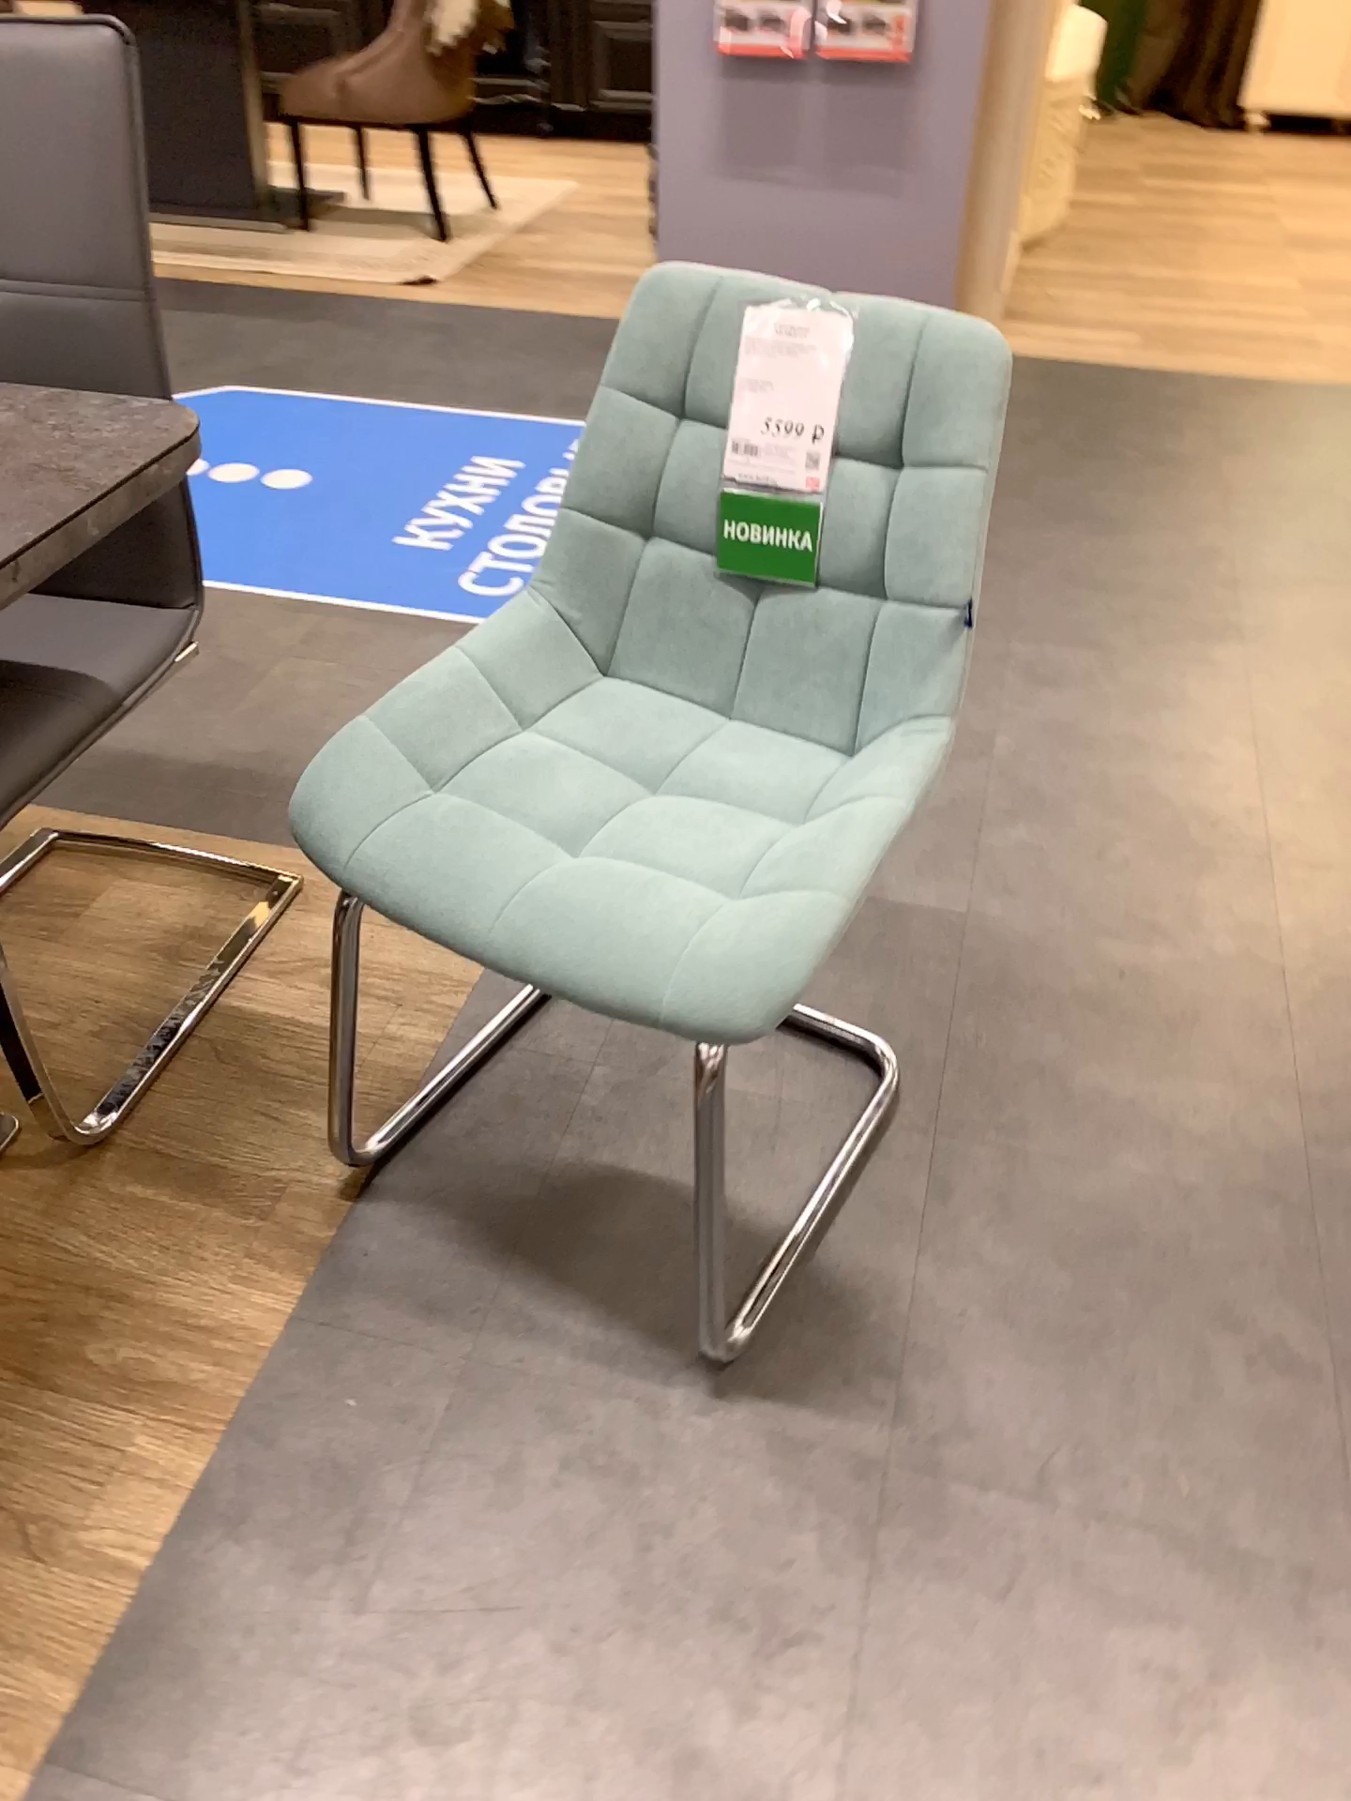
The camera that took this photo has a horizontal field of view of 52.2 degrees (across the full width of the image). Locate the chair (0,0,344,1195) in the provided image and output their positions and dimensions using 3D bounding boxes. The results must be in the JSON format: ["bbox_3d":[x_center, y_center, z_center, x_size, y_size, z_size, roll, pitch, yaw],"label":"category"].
[{"bbox_3d":[-0.784,-0.301,1.425,0.510,1.004,0.573,12,40,14],"label":"chair"}]

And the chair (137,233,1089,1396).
[{"bbox_3d":[-0.019,-0.094,1.304,0.511,0.825,0.553,20,43,23],"label":"chair"}]
